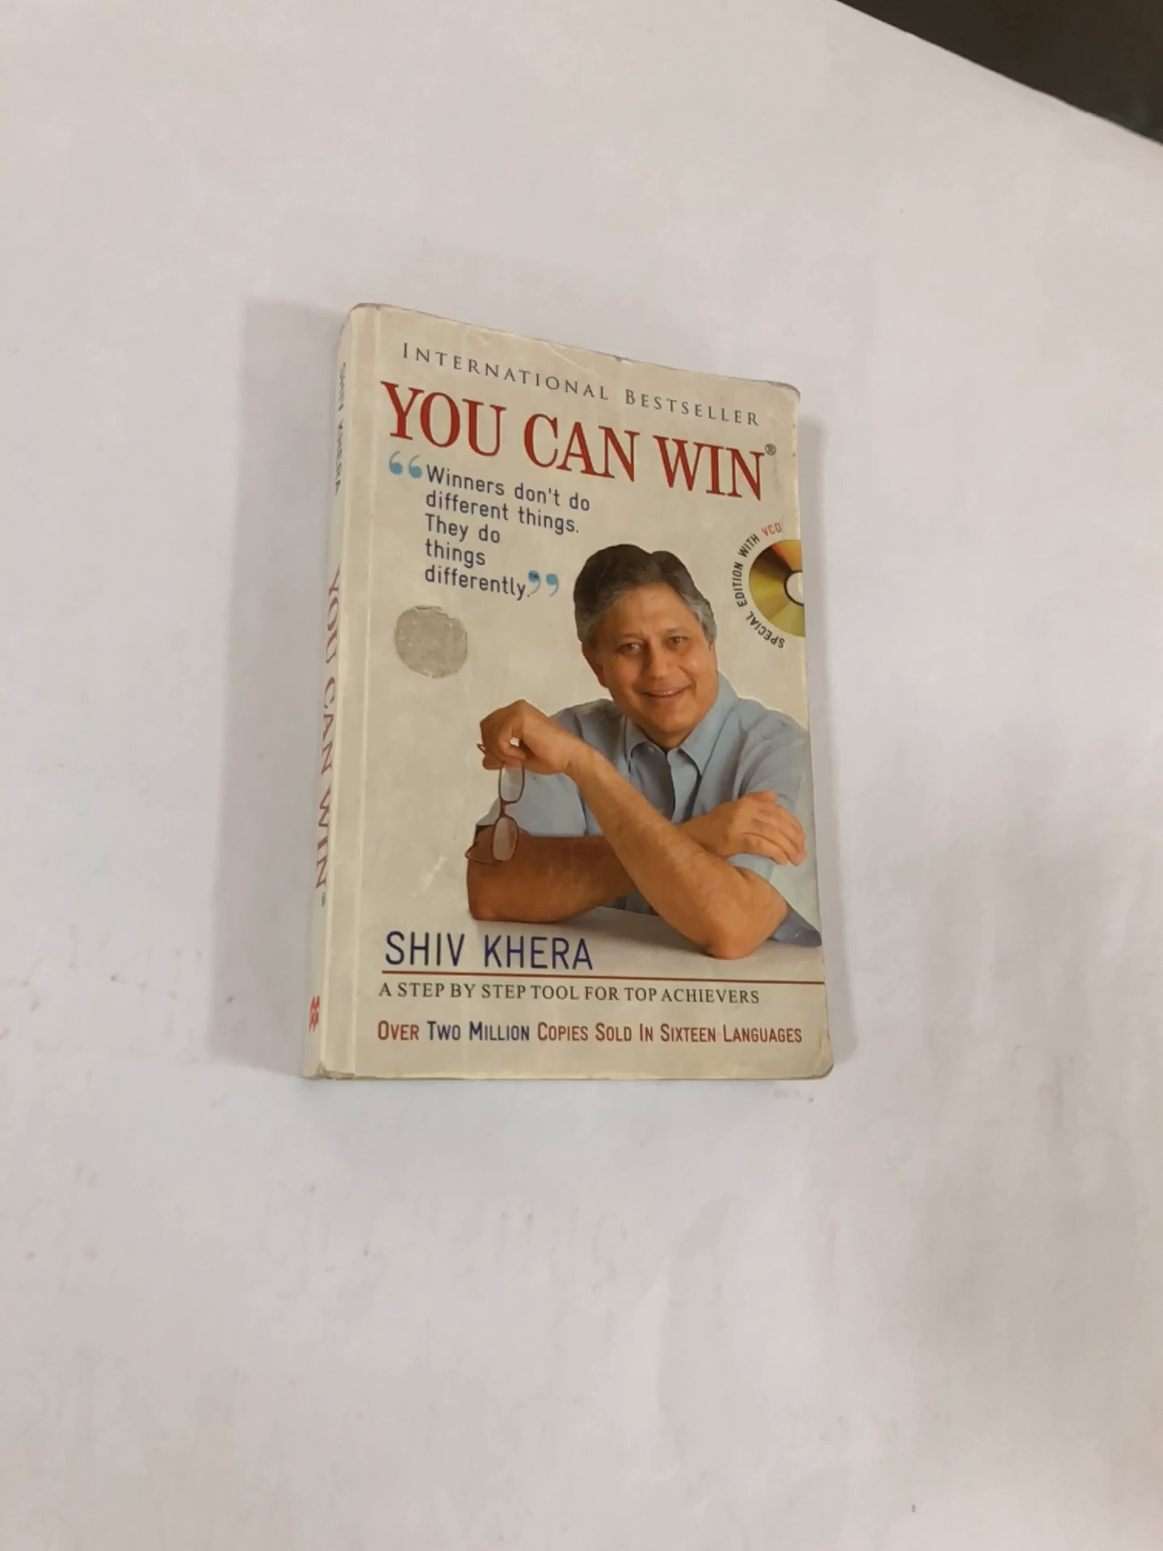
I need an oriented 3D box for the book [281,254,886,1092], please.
[{"bbox_3d":[0.001,-0.022,0.355,0.150,0.040,0.210,5,74,-22],"label":"book"}]
